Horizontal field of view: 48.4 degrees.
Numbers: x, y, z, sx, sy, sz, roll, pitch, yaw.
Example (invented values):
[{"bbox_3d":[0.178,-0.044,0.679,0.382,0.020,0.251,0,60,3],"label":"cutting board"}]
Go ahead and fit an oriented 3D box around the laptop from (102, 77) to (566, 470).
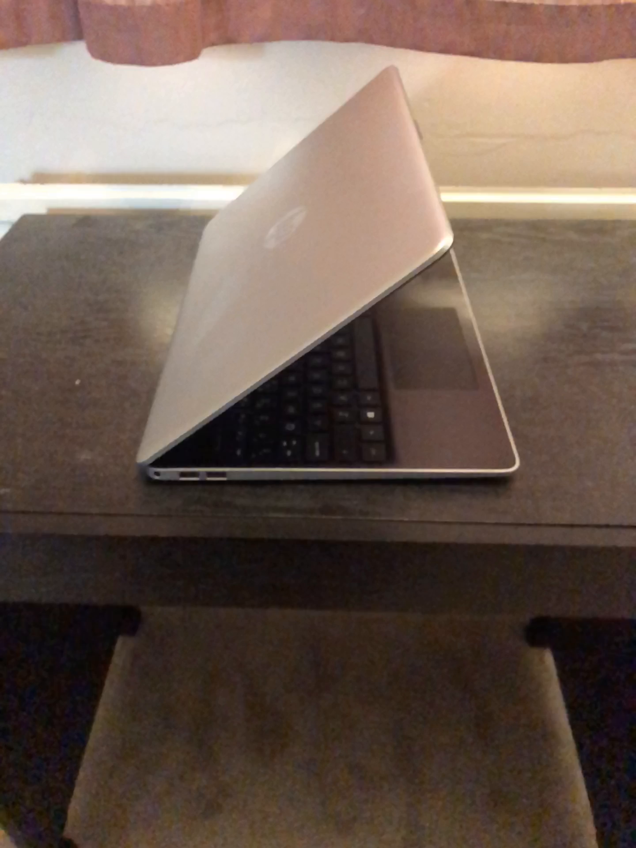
[{"bbox_3d":[0.012,-0.141,0.544,0.236,0.141,0.363,1,39,-1],"label":"laptop"}]
